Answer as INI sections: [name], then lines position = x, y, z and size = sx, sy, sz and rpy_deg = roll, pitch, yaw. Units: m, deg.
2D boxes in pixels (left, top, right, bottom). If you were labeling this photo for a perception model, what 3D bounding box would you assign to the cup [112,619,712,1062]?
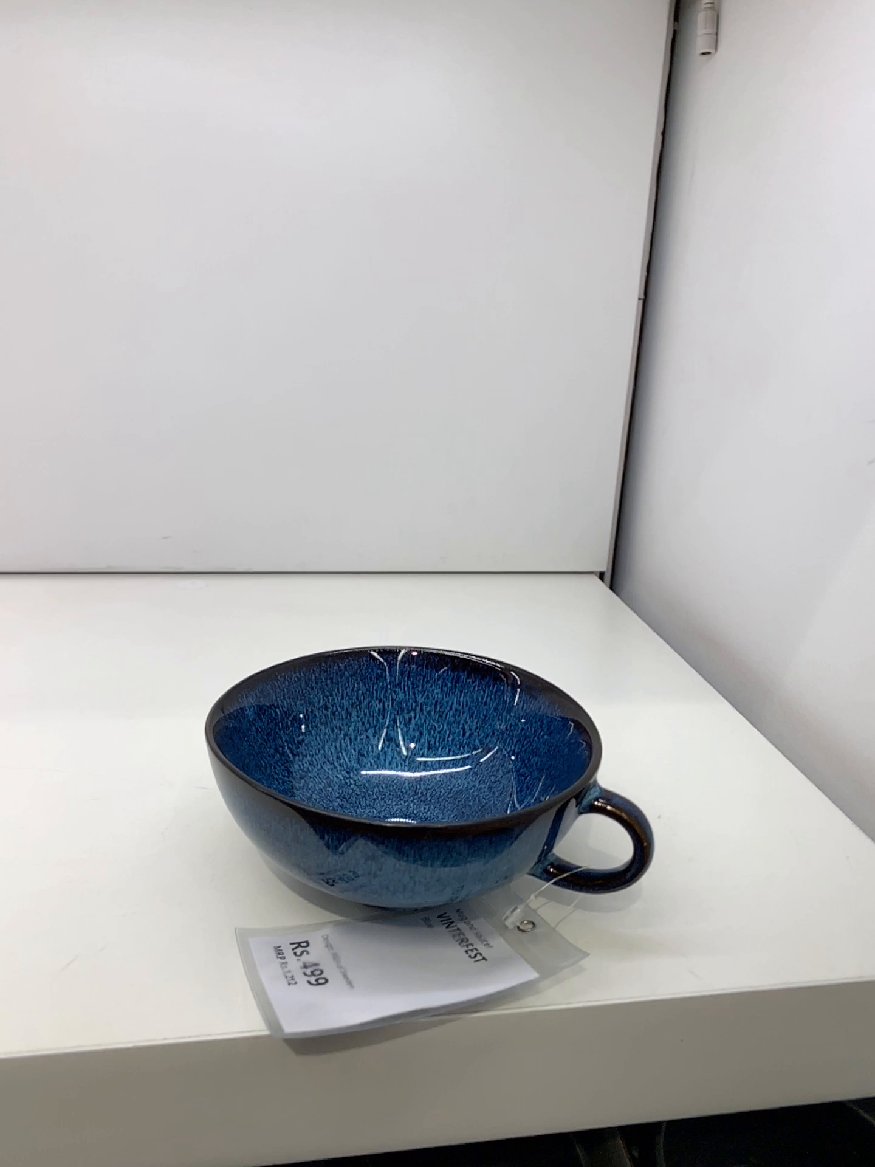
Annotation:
[cup]
position = 0.001, 0.067, 0.304
size = 0.160, 0.050, 0.130
rpy_deg = 9, 18, 20
